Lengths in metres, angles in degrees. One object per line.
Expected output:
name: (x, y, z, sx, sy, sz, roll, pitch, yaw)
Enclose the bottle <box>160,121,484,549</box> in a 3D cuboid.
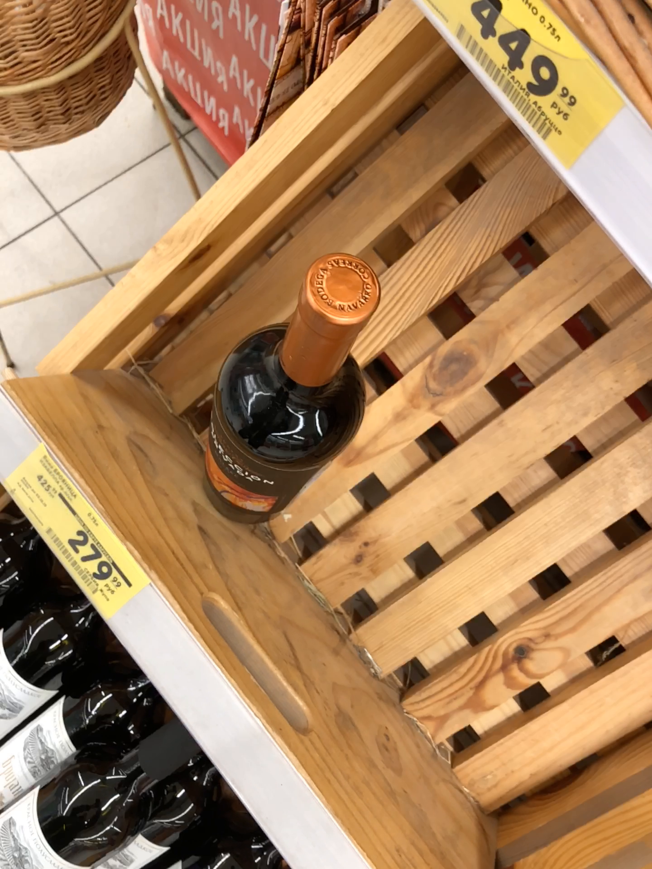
bottle: (-0.030, -0.020, 0.390, 0.080, 0.290, 0.086, 4, 71, -12)
